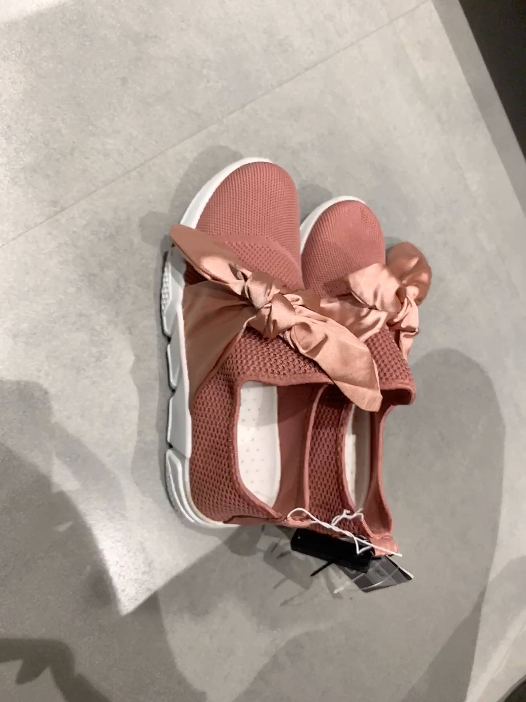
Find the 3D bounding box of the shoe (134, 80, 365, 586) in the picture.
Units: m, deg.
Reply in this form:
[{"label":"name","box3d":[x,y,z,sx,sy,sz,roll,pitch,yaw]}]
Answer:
[{"label":"shoe","box3d":[-0.012,-0.008,0.362,0.110,0.100,0.270,3,88,-30]}]

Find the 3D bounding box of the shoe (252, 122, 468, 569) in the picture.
[{"label":"shoe","box3d":[0.069,-0.002,0.400,0.110,0.100,0.270,3,88,-30]}]
